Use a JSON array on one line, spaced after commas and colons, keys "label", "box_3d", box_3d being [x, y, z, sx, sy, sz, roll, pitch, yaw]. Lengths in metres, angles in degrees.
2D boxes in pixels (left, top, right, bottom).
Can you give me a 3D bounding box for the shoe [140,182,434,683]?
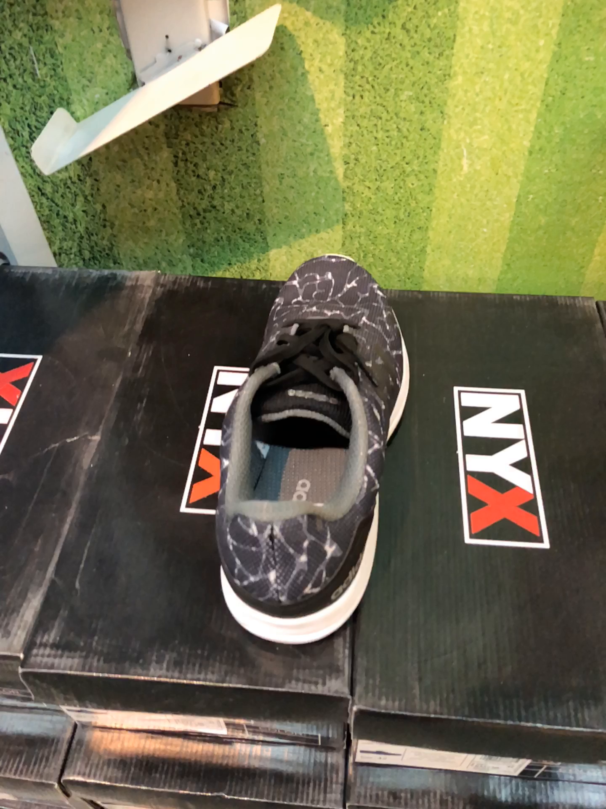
[{"label": "shoe", "box_3d": [0.011, -0.002, 0.385, 0.108, 0.121, 0.262, 5, 49, 7]}]
